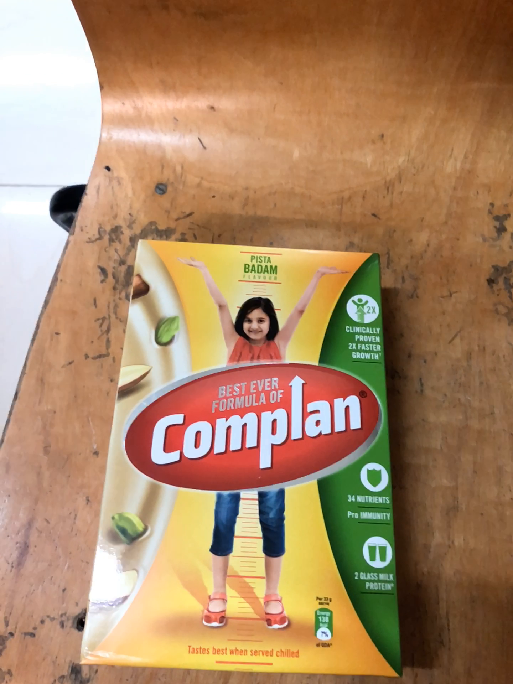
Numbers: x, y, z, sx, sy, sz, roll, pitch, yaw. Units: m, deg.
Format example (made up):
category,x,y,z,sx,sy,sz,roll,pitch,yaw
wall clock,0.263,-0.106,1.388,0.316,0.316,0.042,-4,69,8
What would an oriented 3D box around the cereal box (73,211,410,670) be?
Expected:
category,x,y,z,sx,sy,sz,roll,pitch,yaw
cereal box,-0.004,0.042,0.301,0.140,0.050,0.220,3,67,-4
